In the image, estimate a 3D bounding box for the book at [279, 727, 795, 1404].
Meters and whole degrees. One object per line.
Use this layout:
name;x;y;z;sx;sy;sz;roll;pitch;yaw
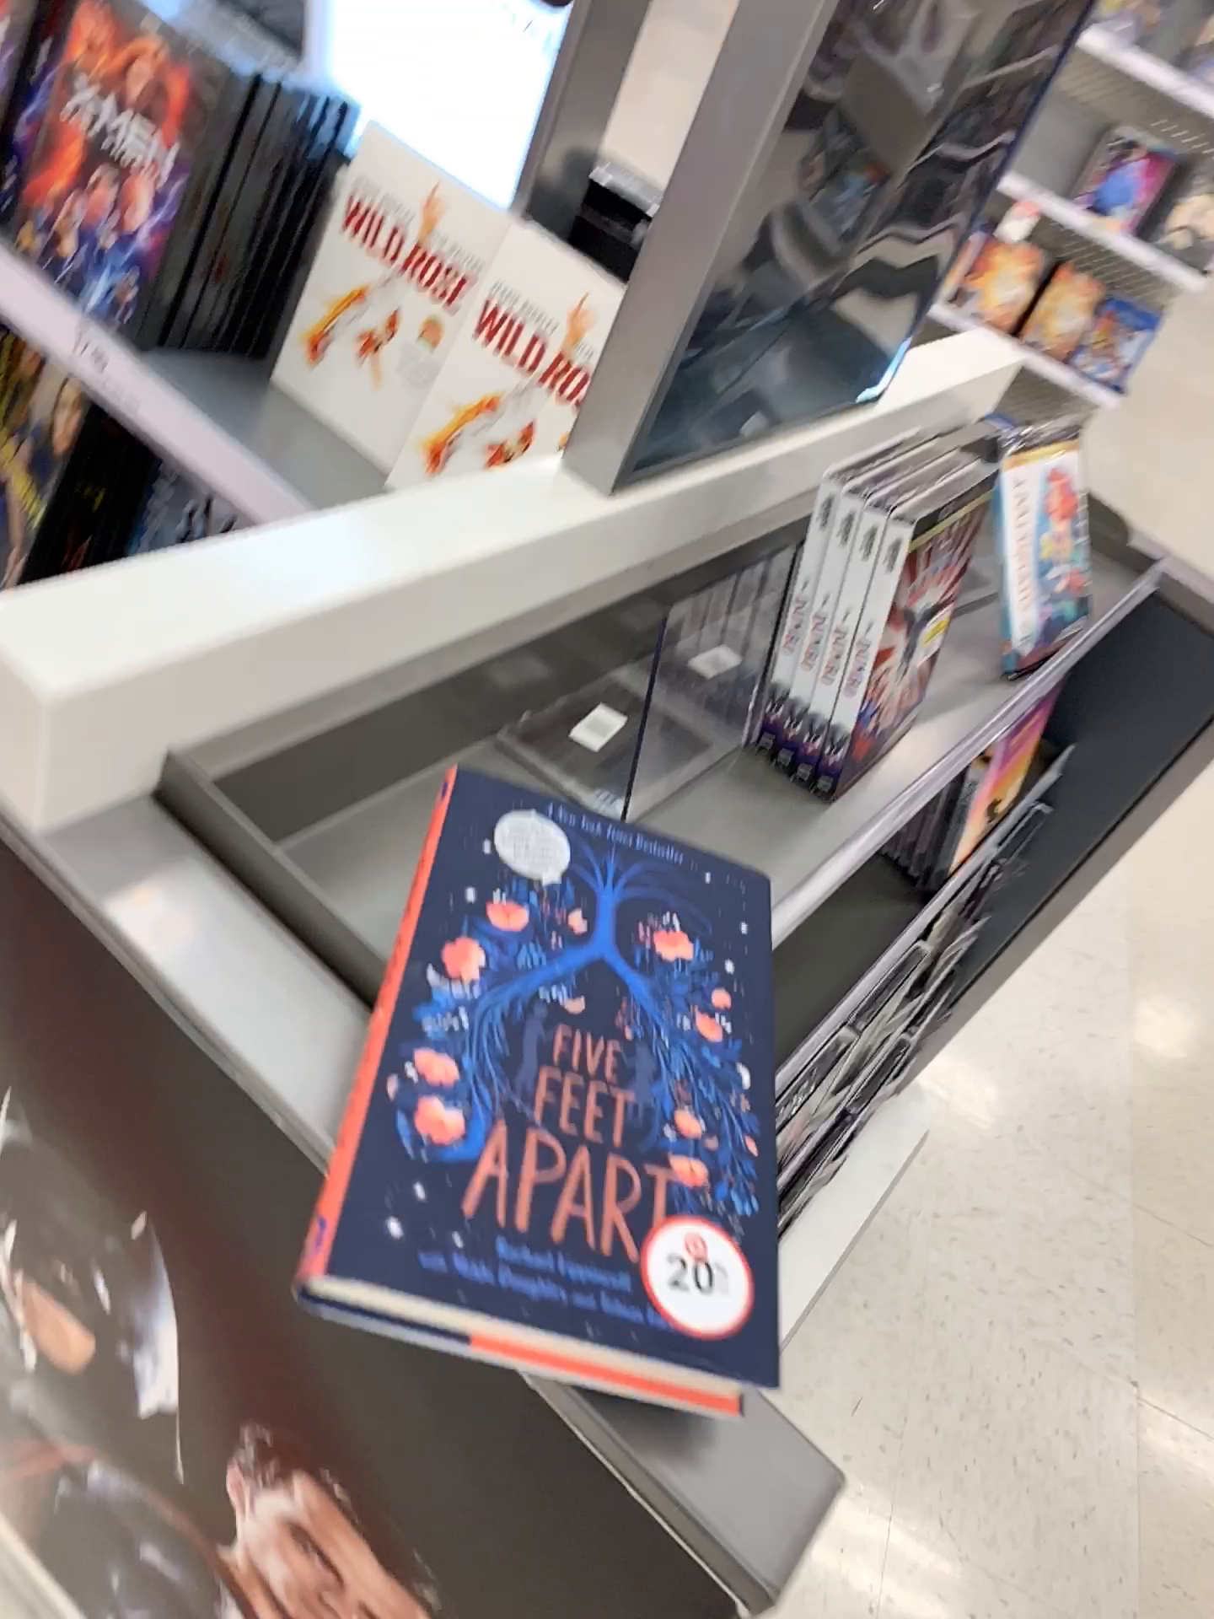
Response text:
book;-0.010;0.075;0.439;0.150;0.028;0.221;18;44;-10
